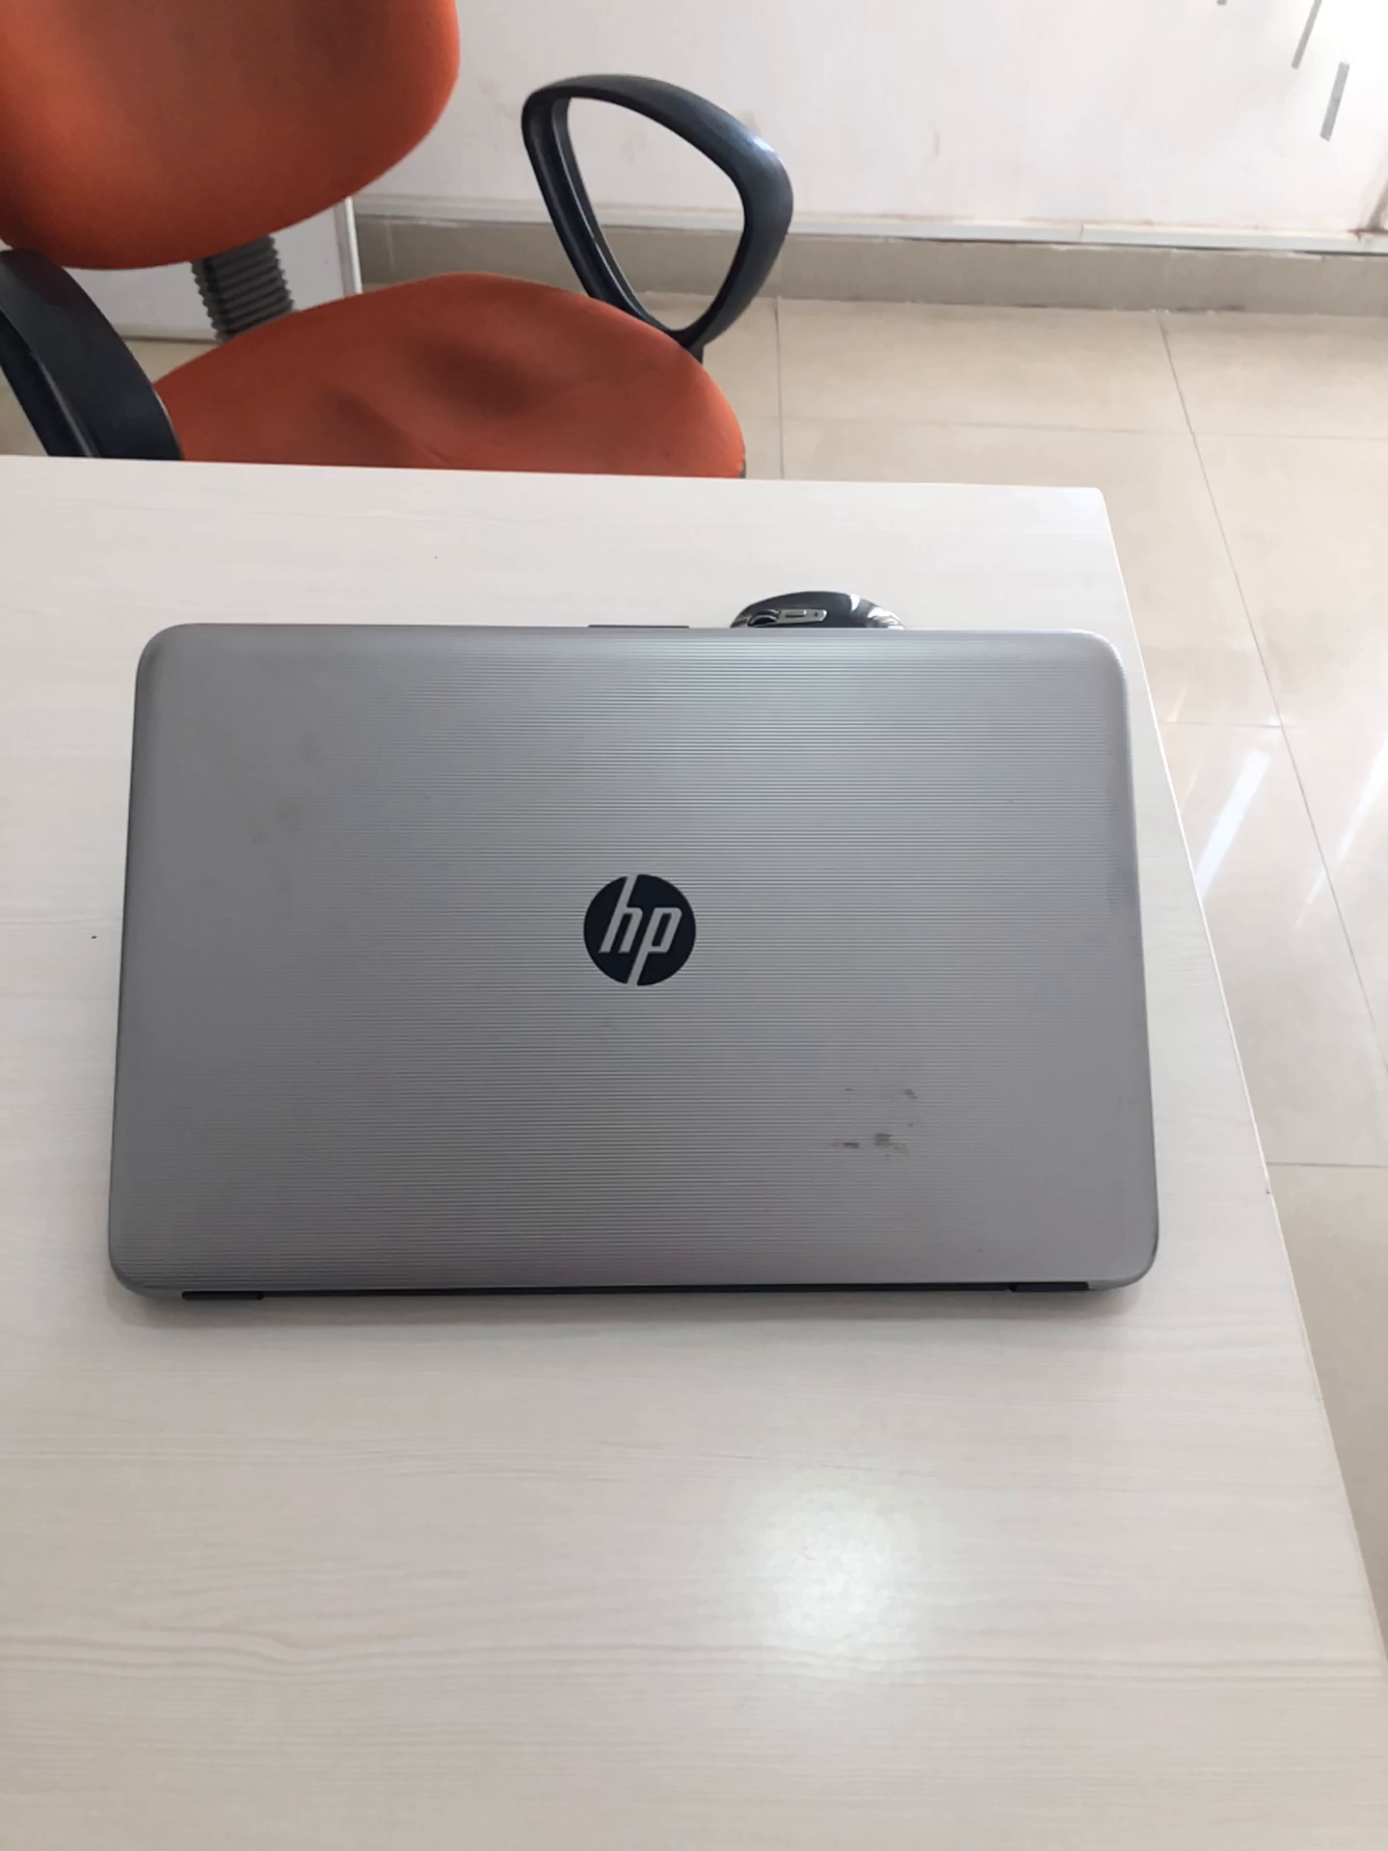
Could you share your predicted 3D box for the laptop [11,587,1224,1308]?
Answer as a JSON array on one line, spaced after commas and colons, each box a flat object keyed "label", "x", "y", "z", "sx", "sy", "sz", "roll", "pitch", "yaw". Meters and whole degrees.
[{"label": "laptop", "x": -0.029, "y": 0.001, "z": 0.587, "sx": 0.369, "sy": 0.120, "sz": 0.252, "roll": -1, "pitch": 53, "yaw": -2}]
